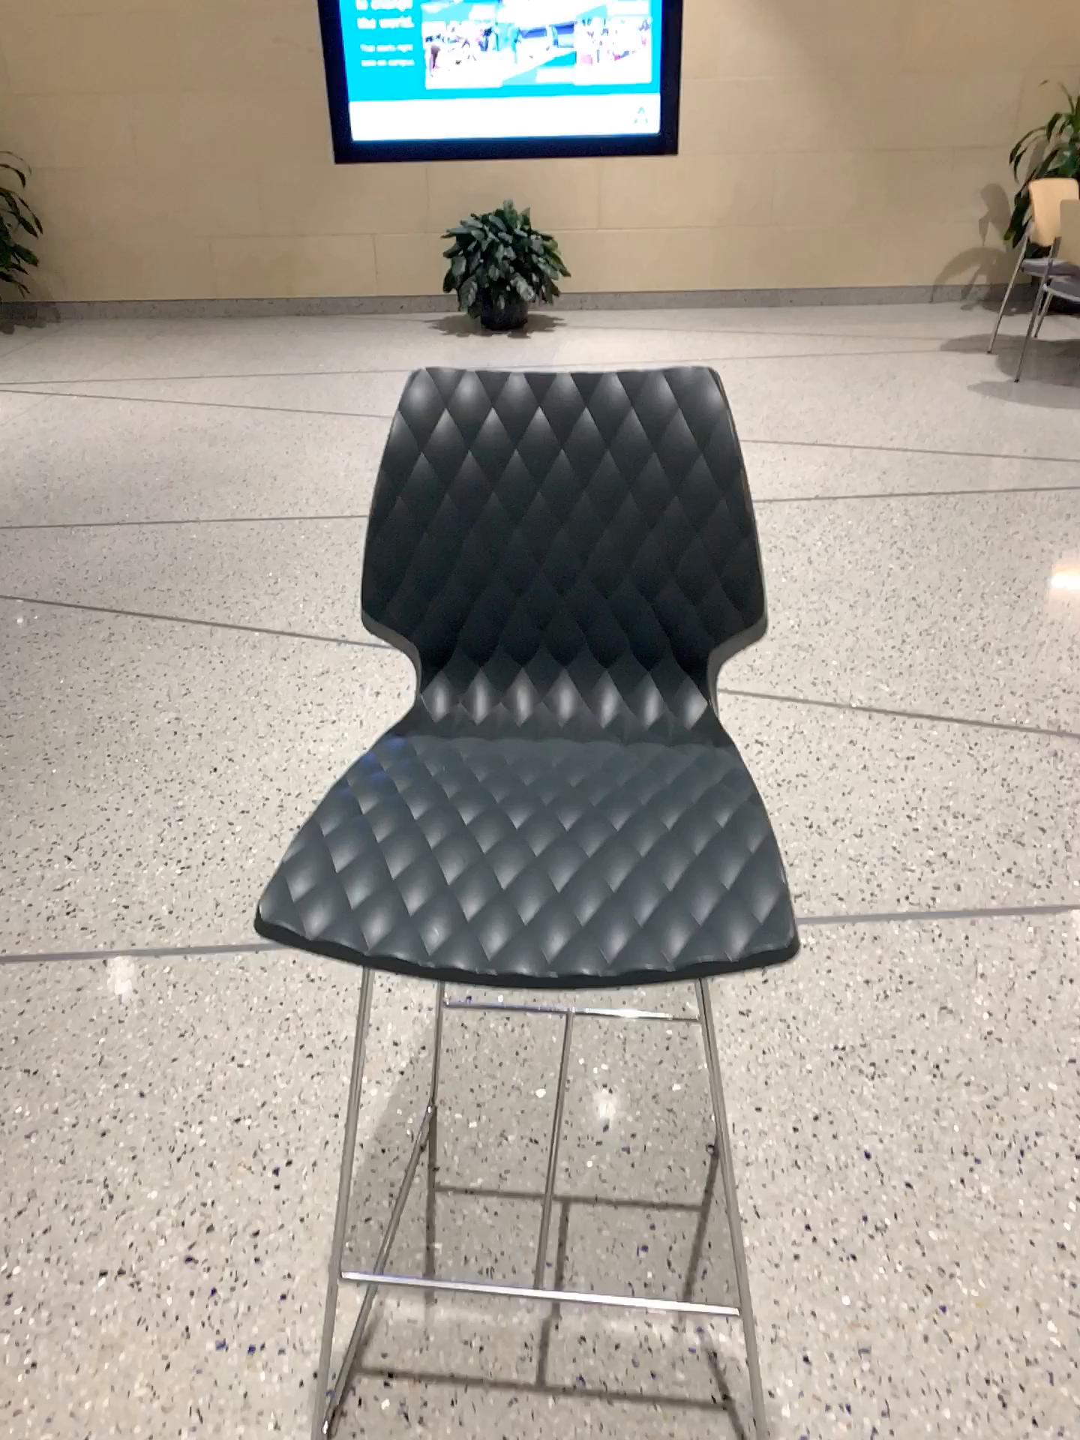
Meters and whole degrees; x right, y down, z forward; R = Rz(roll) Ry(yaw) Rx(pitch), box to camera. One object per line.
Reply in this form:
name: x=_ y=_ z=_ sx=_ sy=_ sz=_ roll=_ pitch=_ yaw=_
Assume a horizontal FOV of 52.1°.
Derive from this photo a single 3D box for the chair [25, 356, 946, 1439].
chair: x=0.003 y=0.211 z=1.103 sx=0.534 sy=0.996 sz=0.535 roll=3 pitch=30 yaw=8
